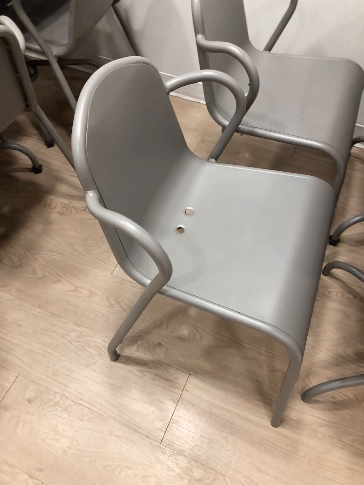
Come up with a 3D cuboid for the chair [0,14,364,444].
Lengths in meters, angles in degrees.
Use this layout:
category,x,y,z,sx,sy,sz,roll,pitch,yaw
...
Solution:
category,x,y,z,sx,sy,sz,roll,pitch,yaw
chair,0.091,0.023,0.893,0.611,0.706,0.482,19,58,12
